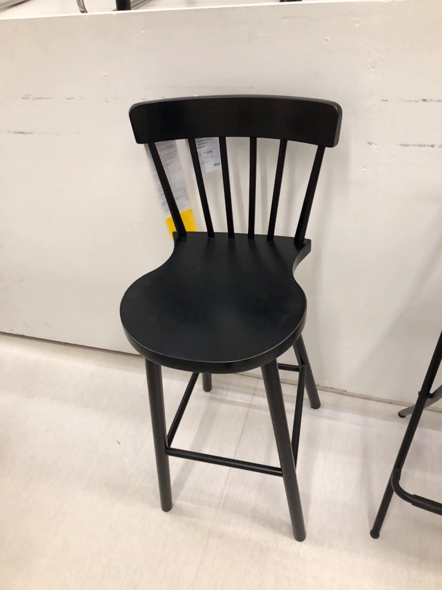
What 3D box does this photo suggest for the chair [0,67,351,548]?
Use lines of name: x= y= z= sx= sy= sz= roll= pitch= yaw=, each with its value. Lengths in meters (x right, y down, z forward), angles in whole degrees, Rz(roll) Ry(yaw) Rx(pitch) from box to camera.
chair: x=-0.004 y=0.062 z=1.034 sx=0.460 sy=0.874 sz=0.483 roll=5 pitch=43 yaw=15
